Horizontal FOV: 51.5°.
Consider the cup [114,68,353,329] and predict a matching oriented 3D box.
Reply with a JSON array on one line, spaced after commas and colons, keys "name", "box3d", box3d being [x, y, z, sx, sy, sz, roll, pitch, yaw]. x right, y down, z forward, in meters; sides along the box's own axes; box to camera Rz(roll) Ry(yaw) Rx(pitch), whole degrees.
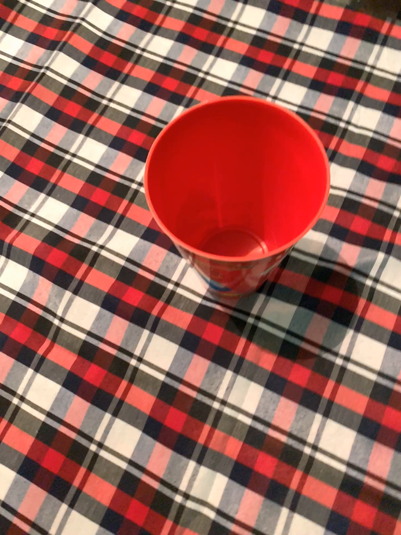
[{"name": "cup", "box3d": [0.022, -0.031, 0.263, 0.100, 0.130, 0.100, -1, 71, 3]}]
